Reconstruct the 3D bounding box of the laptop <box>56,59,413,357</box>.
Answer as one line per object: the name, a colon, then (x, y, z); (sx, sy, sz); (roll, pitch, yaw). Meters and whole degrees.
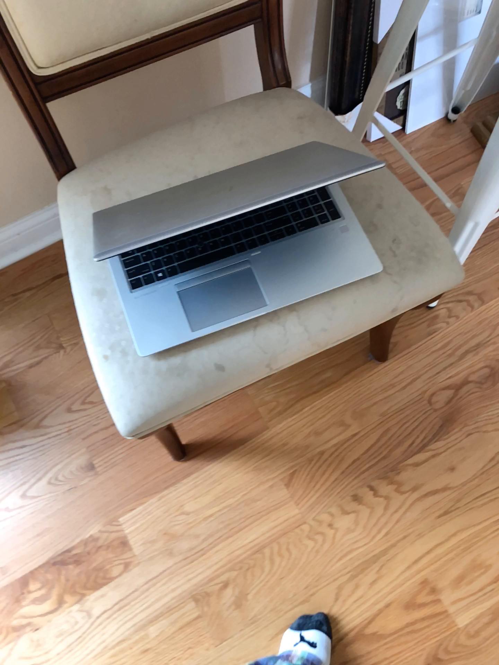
laptop: (-0.024, -0.164, 0.735); (0.365, 0.159, 0.244); (-20, 69, -6)
